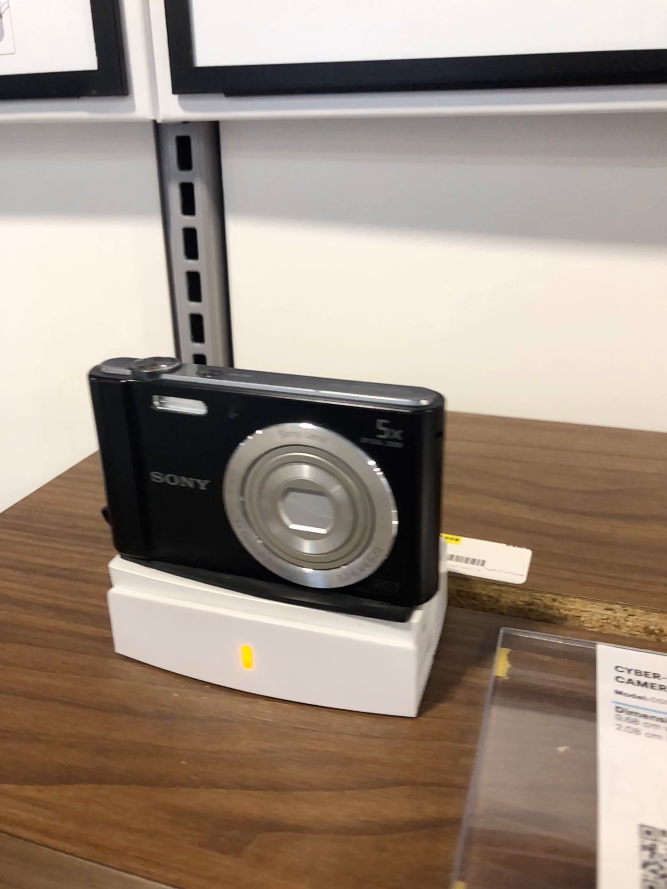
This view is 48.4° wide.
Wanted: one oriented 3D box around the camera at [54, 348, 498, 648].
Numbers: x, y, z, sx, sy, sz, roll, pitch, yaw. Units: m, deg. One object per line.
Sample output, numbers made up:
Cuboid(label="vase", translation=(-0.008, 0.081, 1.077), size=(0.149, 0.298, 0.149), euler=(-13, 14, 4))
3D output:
Cuboid(label="camera", translation=(-0.015, 0.009, 0.181), size=(0.100, 0.050, 0.030), euler=(8, 22, 21))
